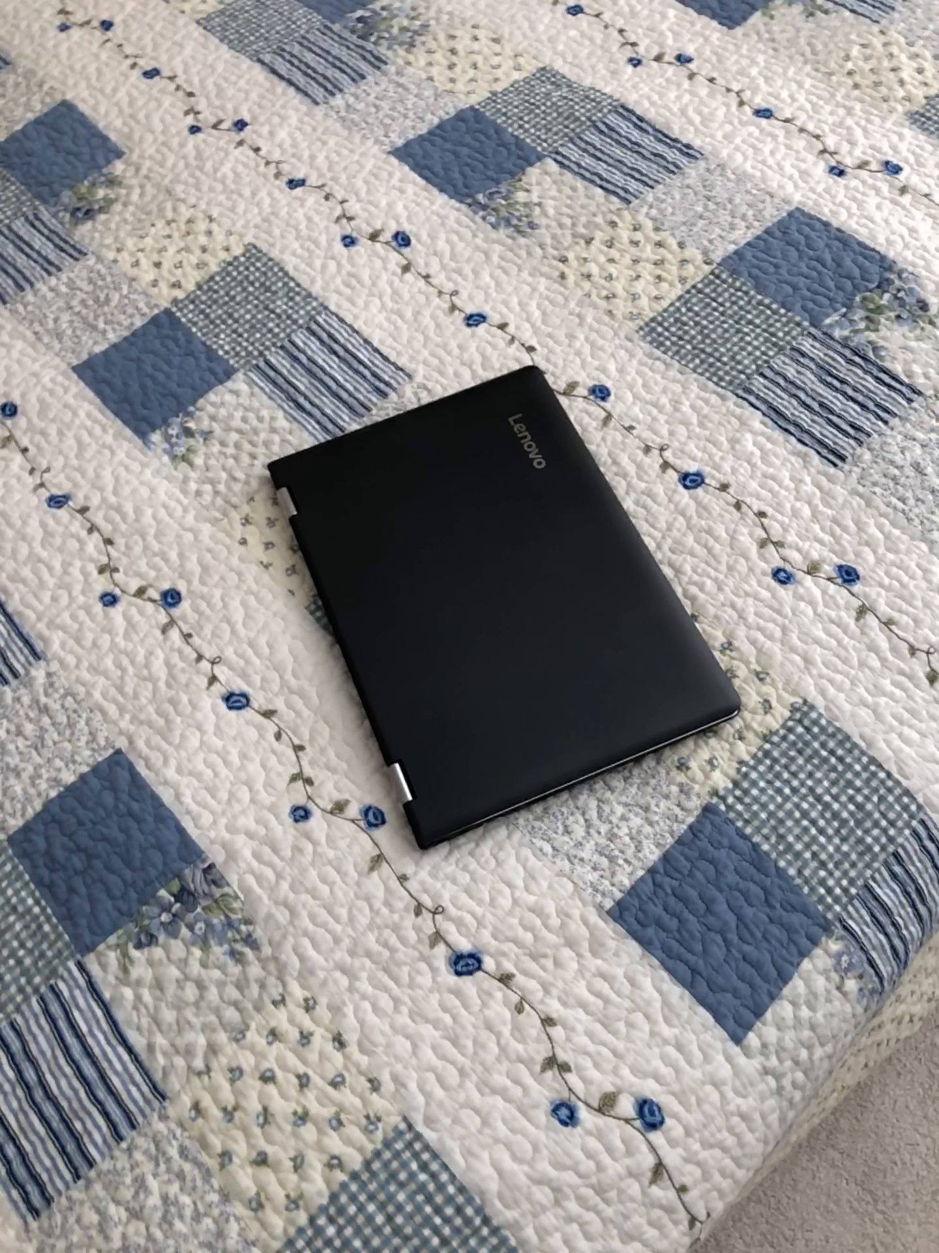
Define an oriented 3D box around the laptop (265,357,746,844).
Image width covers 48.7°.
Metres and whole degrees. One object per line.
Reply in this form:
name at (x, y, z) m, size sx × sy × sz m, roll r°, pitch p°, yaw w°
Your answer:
laptop at (0.010, -0.038, 0.721) m, size 0.223 × 0.008 × 0.321 m, roll -23°, pitch 61°, yaw -6°
